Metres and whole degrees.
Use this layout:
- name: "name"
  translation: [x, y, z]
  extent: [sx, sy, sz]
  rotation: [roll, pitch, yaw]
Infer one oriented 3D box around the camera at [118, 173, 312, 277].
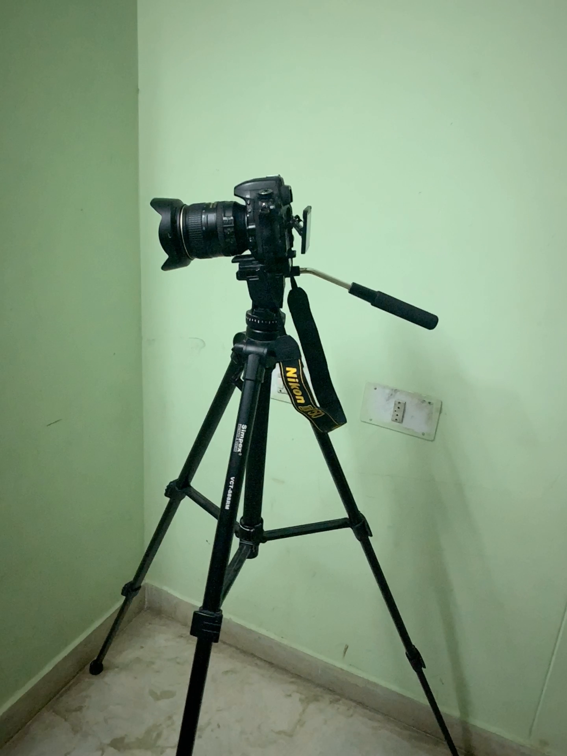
- name: "camera"
  translation: [-0.100, -0.247, 0.915]
  extent: [0.266, 0.127, 0.161]
  rotation: [-5, 19, -2]
